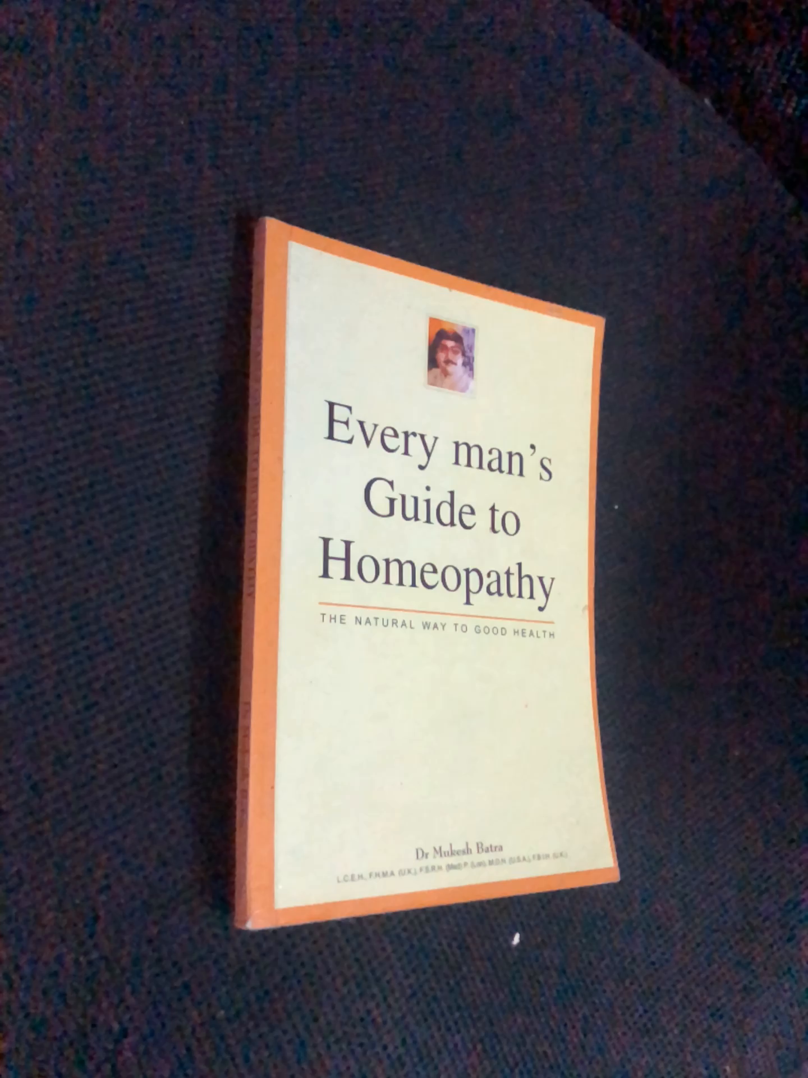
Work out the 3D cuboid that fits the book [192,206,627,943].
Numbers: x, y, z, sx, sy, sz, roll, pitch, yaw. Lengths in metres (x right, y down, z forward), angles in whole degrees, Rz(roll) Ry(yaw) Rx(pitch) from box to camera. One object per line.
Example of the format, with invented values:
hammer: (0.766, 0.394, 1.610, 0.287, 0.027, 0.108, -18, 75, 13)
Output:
book: (0.009, 0.012, 0.295, 0.141, 0.026, 0.207, 7, 77, -30)
